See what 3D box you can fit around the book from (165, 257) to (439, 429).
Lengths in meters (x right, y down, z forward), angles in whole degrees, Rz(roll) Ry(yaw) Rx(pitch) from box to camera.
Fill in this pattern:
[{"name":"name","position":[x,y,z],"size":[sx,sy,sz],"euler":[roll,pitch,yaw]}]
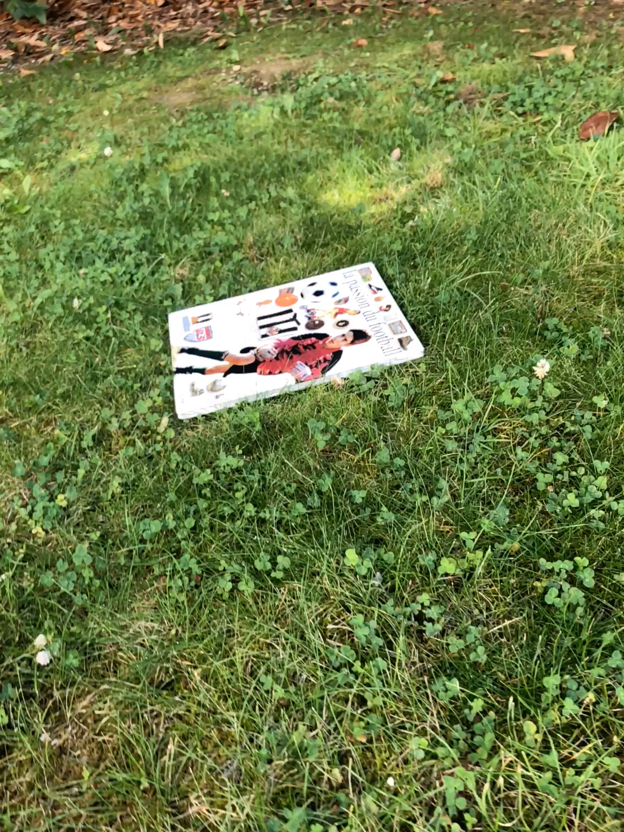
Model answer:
[{"name":"book","position":[-0.027,-0.100,0.841],"size":[0.300,0.020,0.231],"euler":[-14,40,-3]}]
